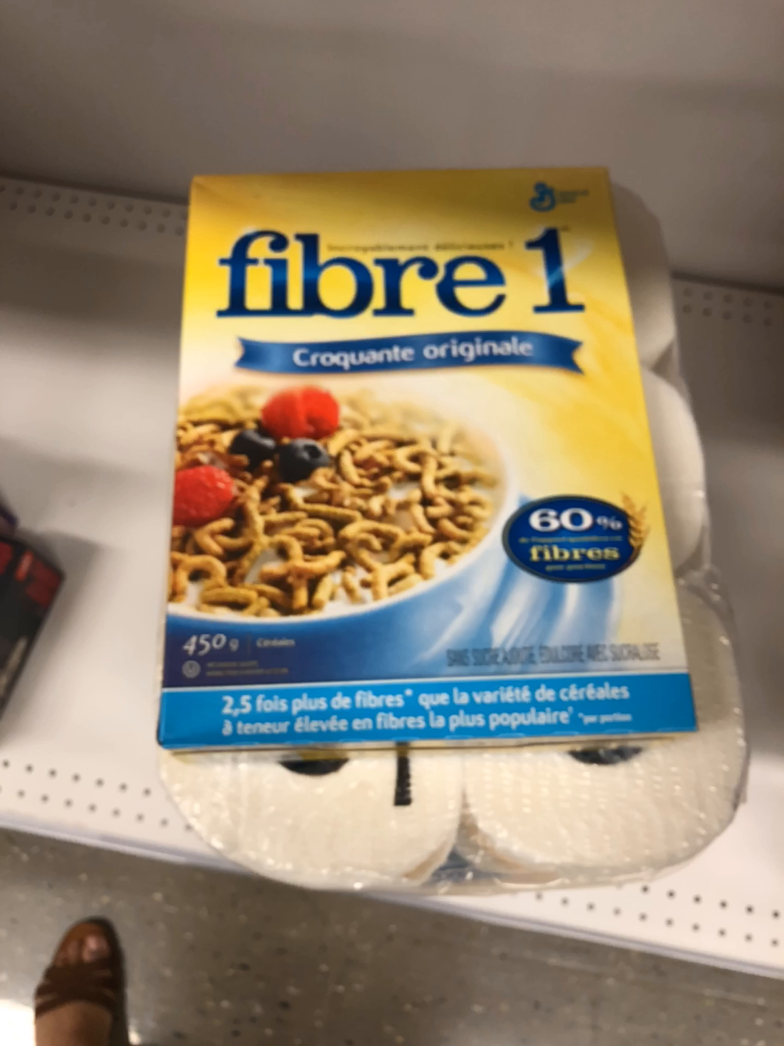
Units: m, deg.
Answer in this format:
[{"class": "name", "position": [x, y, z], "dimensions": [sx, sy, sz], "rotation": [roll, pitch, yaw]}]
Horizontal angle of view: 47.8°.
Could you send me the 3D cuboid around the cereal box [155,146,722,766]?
[{"class": "cereal box", "position": [0.014, -0.034, 0.382], "dimensions": [0.200, 0.060, 0.260], "rotation": [-1, 71, -1]}]
